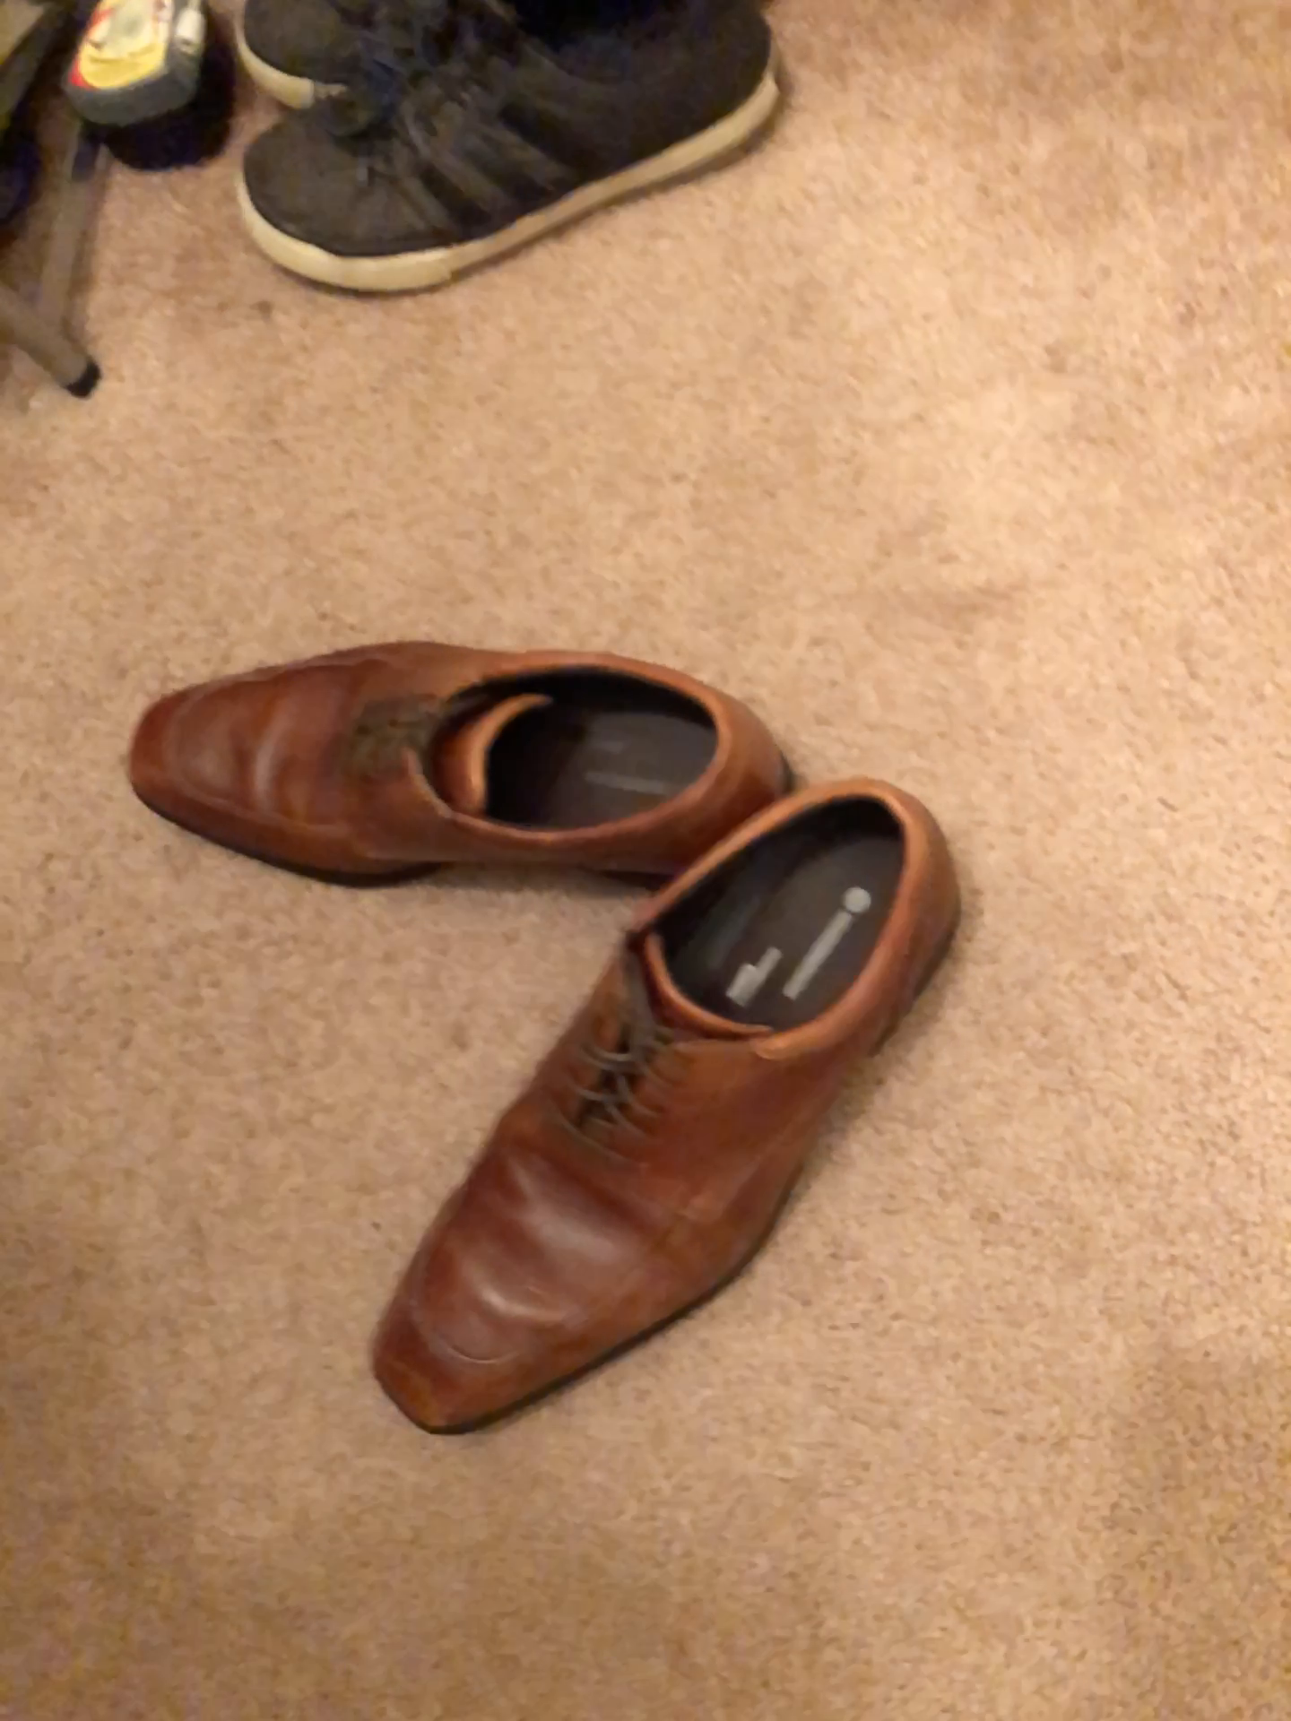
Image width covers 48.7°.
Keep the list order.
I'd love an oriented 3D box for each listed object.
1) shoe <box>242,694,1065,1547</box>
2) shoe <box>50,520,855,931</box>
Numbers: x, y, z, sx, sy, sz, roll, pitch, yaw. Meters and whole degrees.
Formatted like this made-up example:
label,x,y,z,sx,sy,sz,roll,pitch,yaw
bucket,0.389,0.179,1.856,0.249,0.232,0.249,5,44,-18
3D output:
label,x,y,z,sx,sy,sz,roll,pitch,yaw
shoe,0.011,0.095,0.533,0.300,0.110,0.100,-46,70,-2
shoe,-0.073,-0.057,0.606,0.300,0.120,0.120,5,76,15
